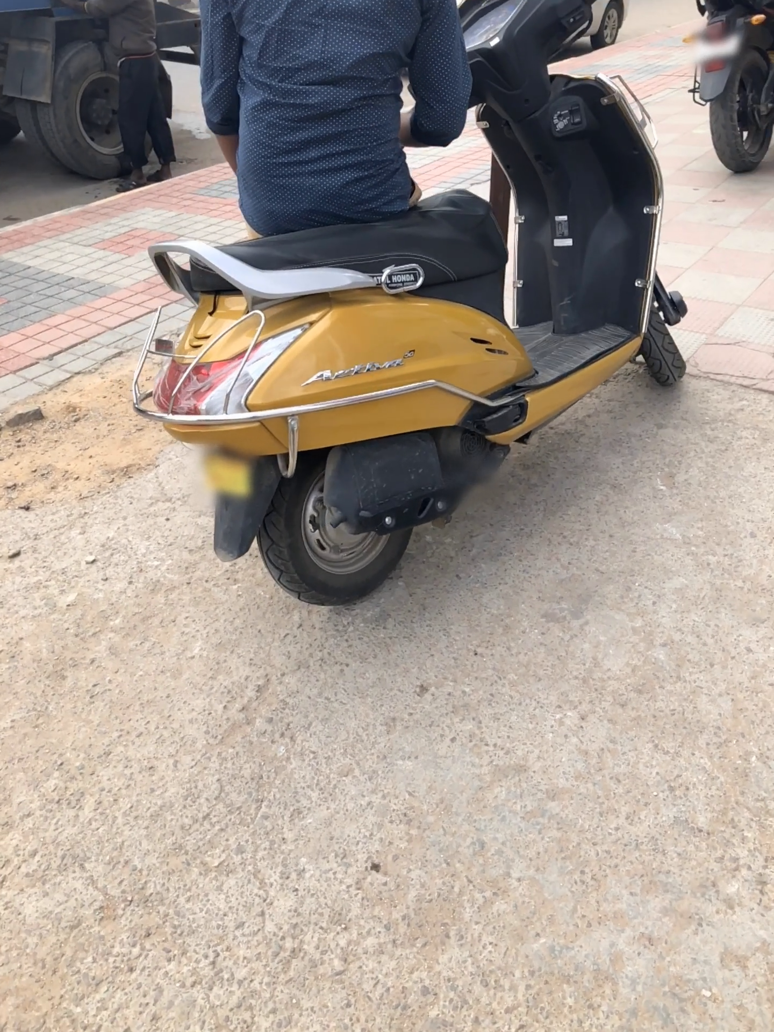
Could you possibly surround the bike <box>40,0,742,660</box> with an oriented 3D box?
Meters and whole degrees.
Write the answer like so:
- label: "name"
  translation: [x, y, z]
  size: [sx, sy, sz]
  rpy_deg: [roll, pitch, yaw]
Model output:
- label: "bike"
  translation: [0.136, -0.697, 2.013]
  size: [0.585, 1.153, 1.535]
  rpy_deg: [24, 46, 32]
